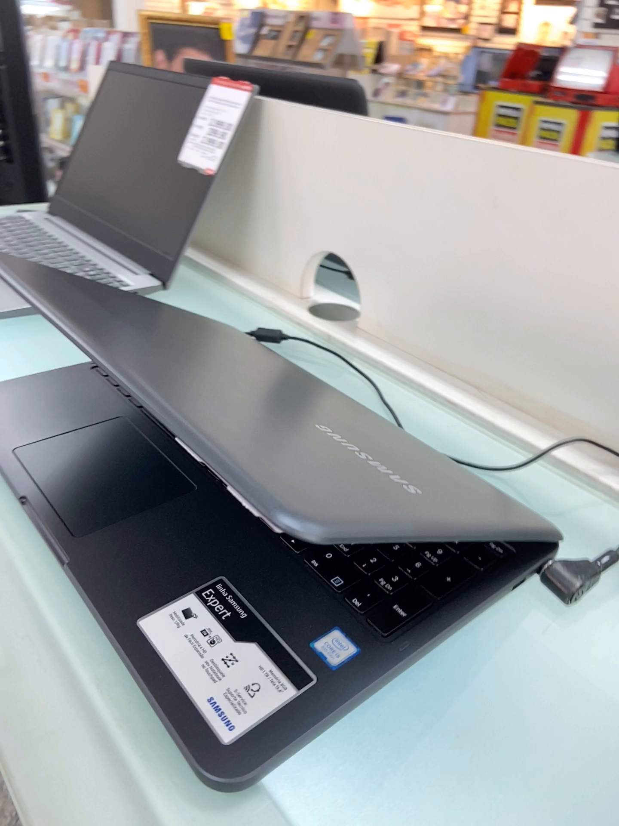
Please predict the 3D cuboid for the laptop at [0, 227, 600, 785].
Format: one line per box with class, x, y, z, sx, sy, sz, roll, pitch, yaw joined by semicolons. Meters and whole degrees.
laptop;-0.063;-0.012;0.411;0.233;0.101;0.377;-20;38;-35
